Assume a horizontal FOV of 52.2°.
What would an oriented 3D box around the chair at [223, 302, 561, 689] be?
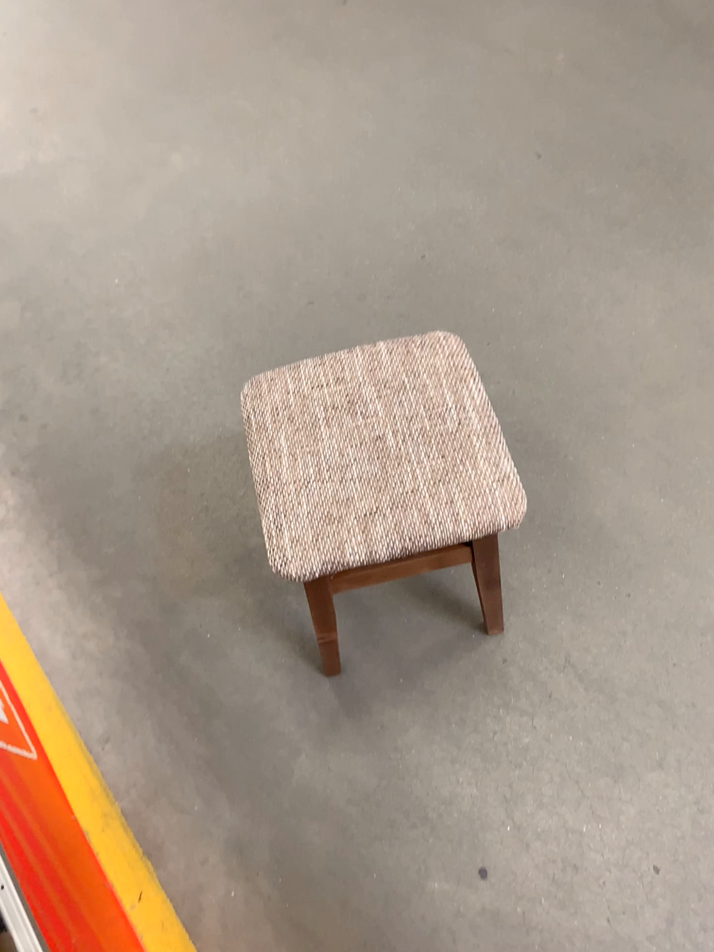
[{"bbox_3d":[0.054,0.062,1.140,0.360,0.479,0.341,-15,60,0],"label":"chair"}]
